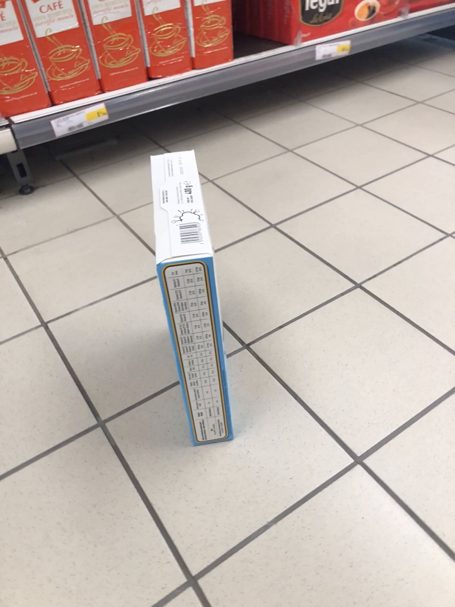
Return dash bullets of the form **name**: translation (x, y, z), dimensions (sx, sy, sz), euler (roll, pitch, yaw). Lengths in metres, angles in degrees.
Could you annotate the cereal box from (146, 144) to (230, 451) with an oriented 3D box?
- **cereal box**: translation (-0.041, -0.005, 0.527), dimensions (0.050, 0.248, 0.201), euler (-7, 41, -3)
